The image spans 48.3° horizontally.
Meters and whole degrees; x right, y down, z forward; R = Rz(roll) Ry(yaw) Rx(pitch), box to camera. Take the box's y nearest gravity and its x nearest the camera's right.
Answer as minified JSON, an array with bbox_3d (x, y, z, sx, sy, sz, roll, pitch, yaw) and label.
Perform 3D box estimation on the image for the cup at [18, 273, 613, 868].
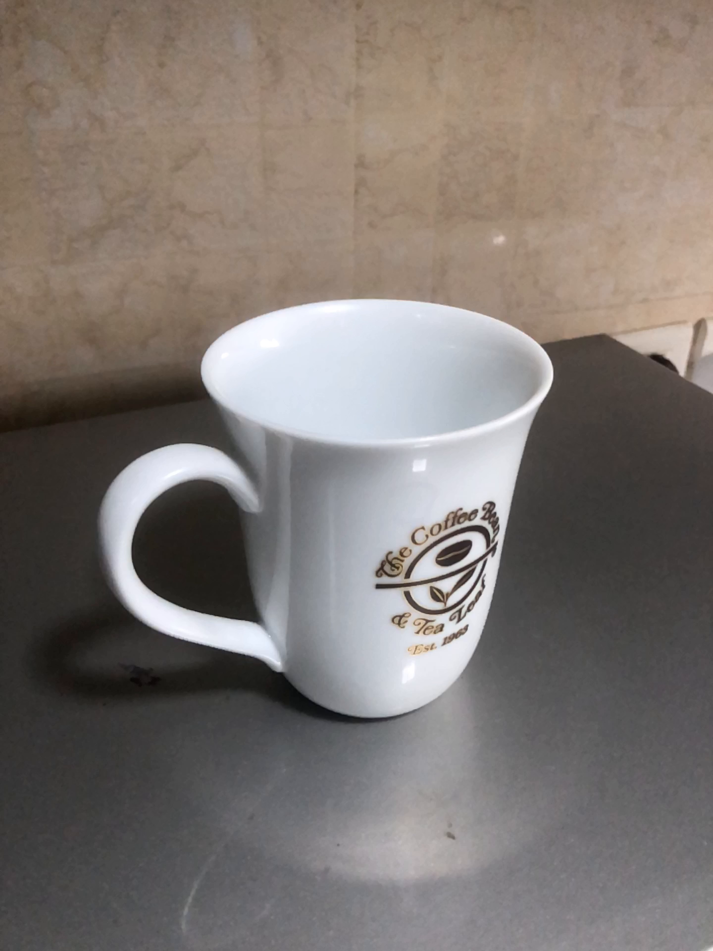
[{"bbox_3d":[-0.011,0.015,0.239,0.130,0.109,0.090,-19,36,-30],"label":"cup"}]
